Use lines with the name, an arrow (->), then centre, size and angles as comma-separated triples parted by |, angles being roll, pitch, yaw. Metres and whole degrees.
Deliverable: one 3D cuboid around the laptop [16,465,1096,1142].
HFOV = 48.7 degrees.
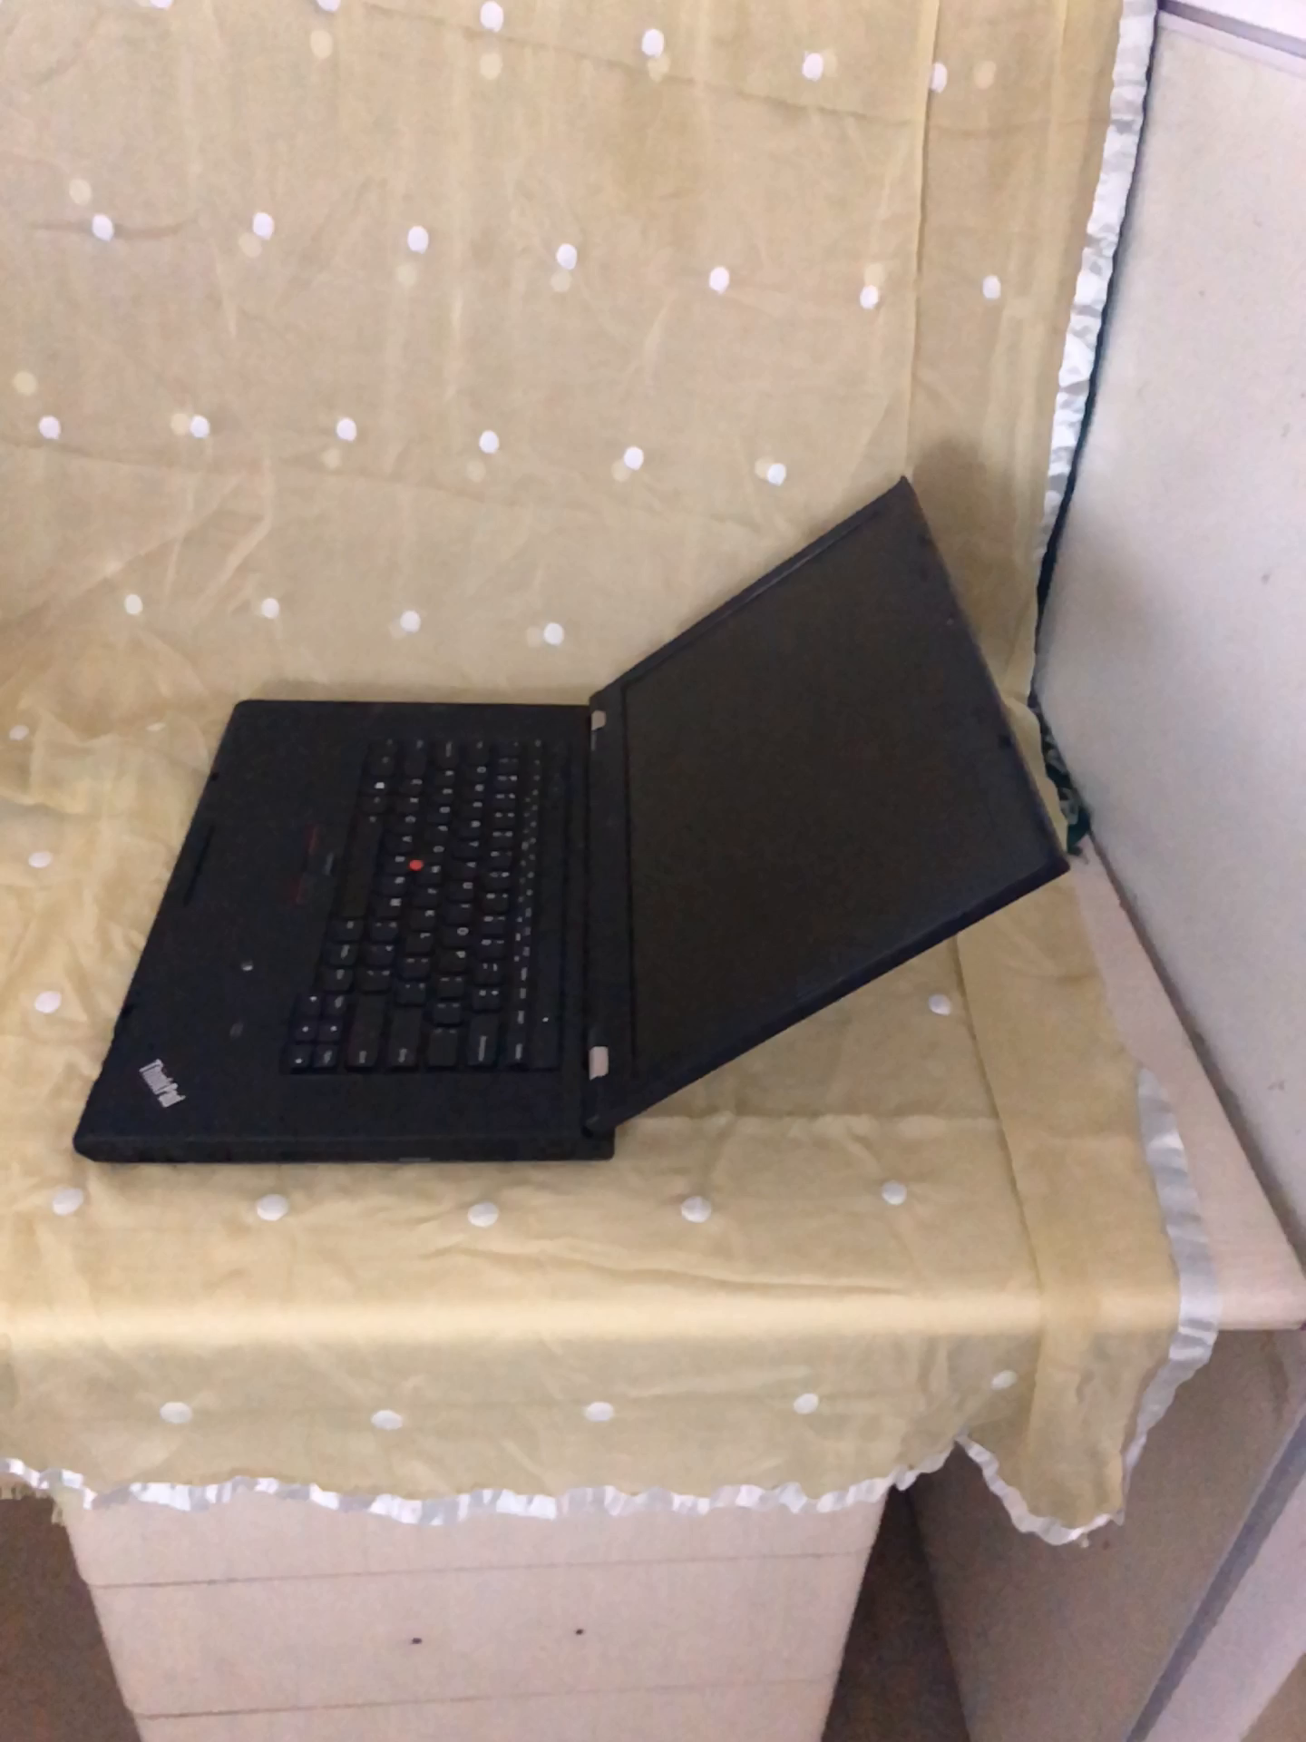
laptop -> -0.048, -0.057, 0.748 | 0.424, 0.156, 0.350 | -2, 38, -1
